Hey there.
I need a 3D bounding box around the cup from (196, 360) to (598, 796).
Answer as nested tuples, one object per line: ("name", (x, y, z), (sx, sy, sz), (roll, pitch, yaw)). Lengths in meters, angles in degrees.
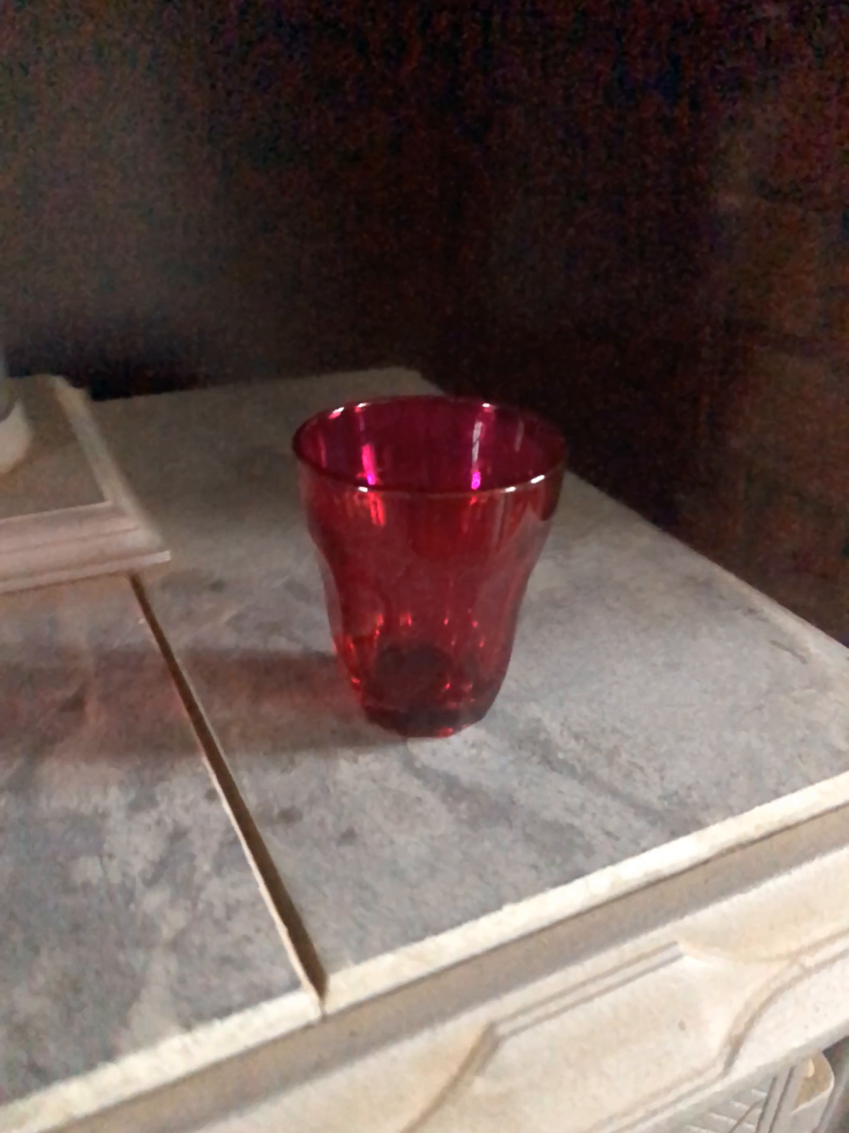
("cup", (-0.010, -0.003, 0.262), (0.070, 0.080, 0.080), (-20, 35, -35))
